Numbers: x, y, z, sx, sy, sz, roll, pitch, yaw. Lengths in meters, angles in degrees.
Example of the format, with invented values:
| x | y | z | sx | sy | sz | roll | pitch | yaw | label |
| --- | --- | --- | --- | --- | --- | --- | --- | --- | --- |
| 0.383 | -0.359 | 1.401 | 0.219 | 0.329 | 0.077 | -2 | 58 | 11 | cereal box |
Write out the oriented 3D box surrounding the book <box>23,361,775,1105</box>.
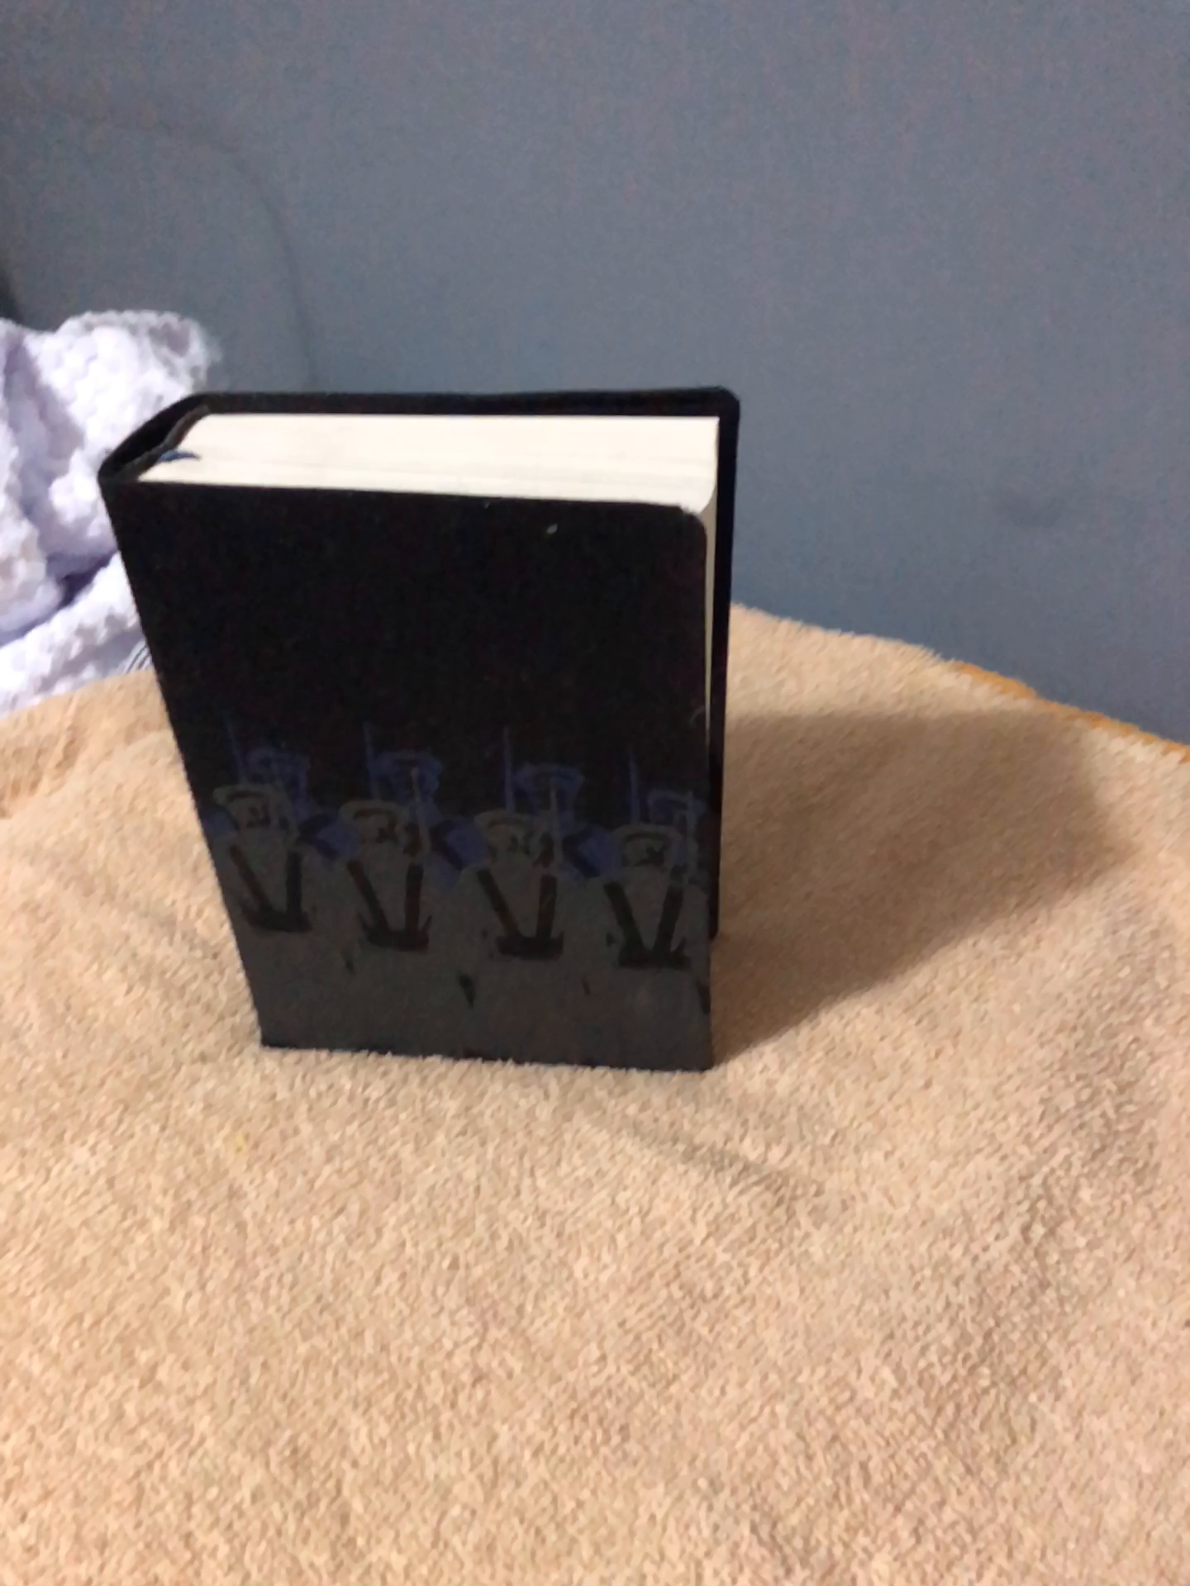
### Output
| x | y | z | sx | sy | sz | roll | pitch | yaw | label |
| --- | --- | --- | --- | --- | --- | --- | --- | --- | --- |
| -0.033 | -0.009 | 0.333 | 0.150 | 0.179 | 0.060 | 1 | 36 | 8 | book |
